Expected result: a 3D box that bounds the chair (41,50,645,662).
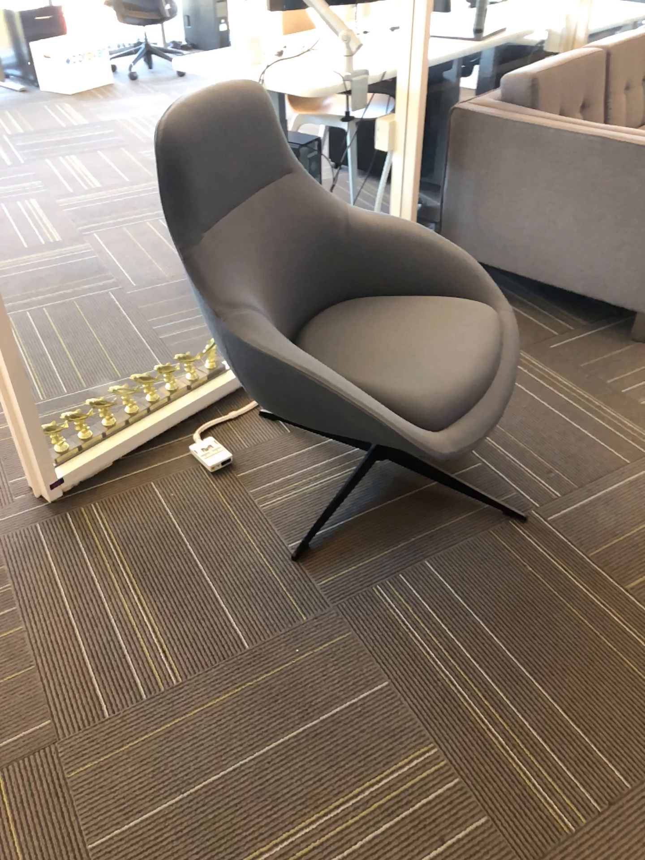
[{"bbox_3d":[0.128,-0.266,1.757,0.961,0.995,0.933,15,40,20],"label":"chair"}]
